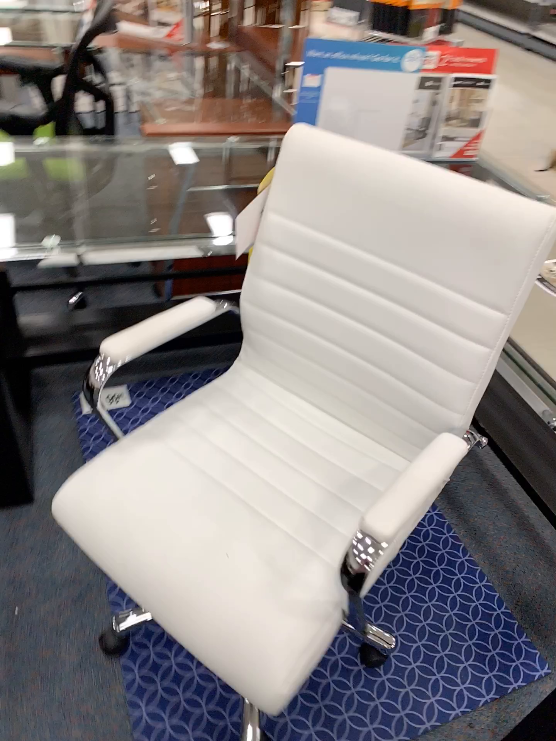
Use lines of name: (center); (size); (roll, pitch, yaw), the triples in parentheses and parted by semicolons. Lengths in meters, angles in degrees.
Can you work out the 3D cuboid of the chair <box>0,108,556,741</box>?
chair: (0.034, 0.169, 1.040); (0.615, 0.963, 0.664); (29, 45, 23)
